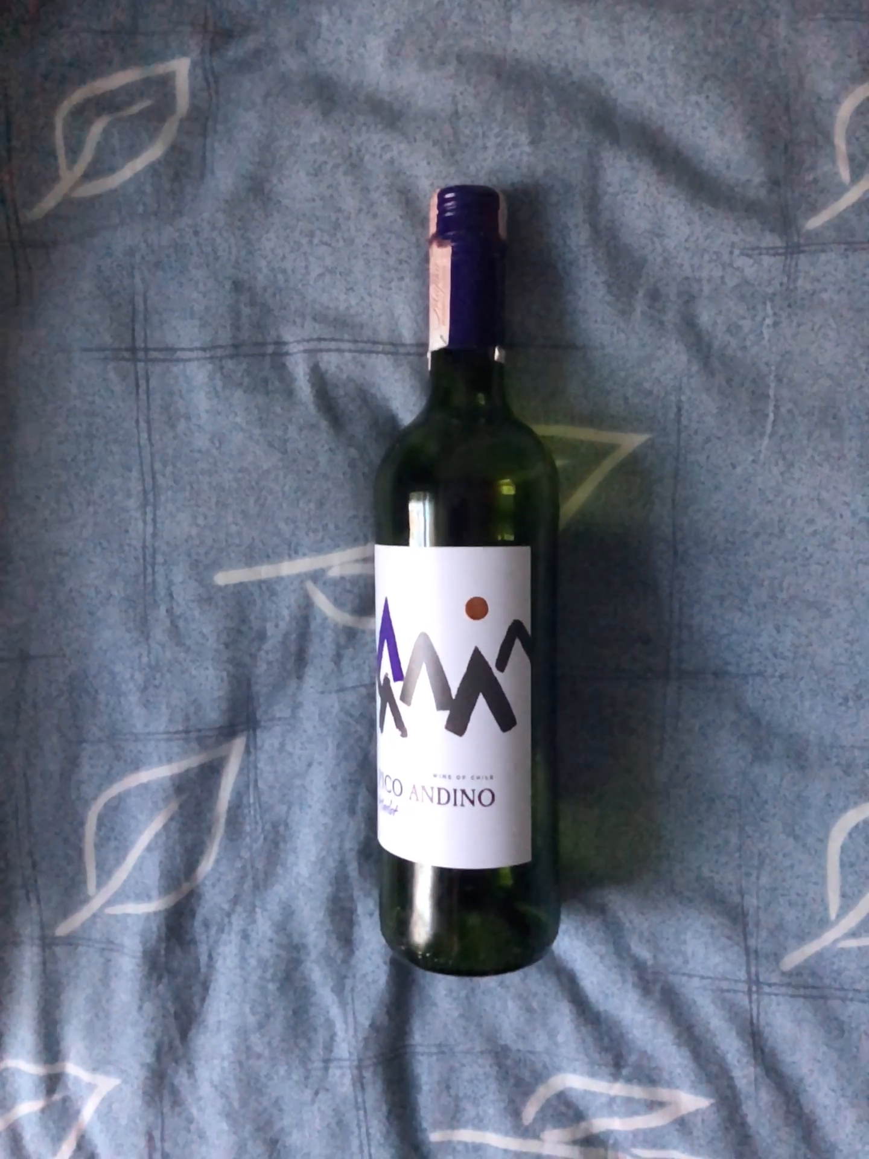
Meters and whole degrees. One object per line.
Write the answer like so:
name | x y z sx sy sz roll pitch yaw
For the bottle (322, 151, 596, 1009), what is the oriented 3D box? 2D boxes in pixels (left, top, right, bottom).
bottle | 0.013 0.002 0.377 0.080 0.080 0.290 1 95 24
